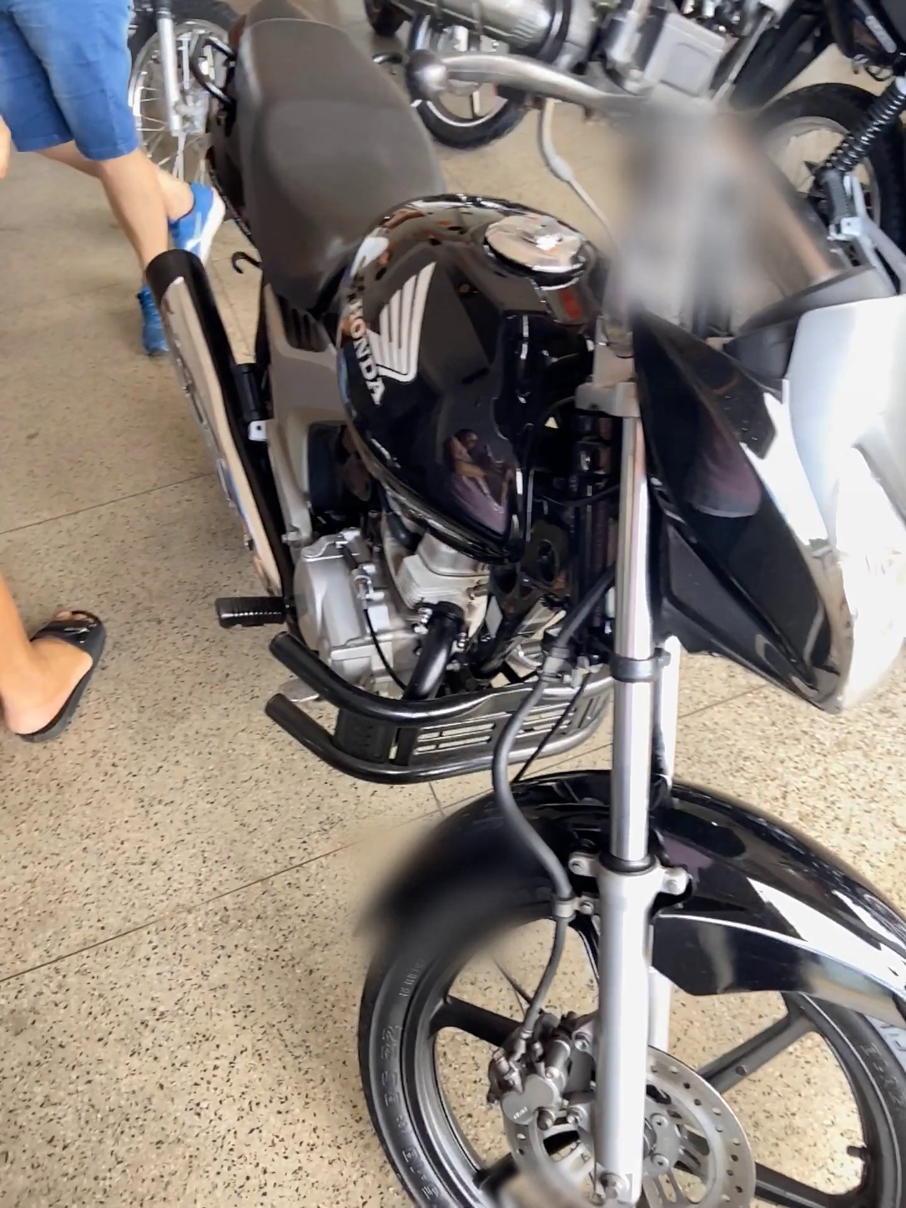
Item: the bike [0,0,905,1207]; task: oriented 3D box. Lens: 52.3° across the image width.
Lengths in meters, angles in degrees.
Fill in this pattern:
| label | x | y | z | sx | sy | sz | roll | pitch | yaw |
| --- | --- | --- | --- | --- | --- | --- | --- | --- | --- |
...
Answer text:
| label | x | y | z | sx | sy | sz | roll | pitch | yaw |
| --- | --- | --- | --- | --- | --- | --- | --- | --- | --- |
| bike | 0.105 | -0.216 | 1.180 | 0.774 | 1.137 | 1.743 | -23 | 50 | -14 |
